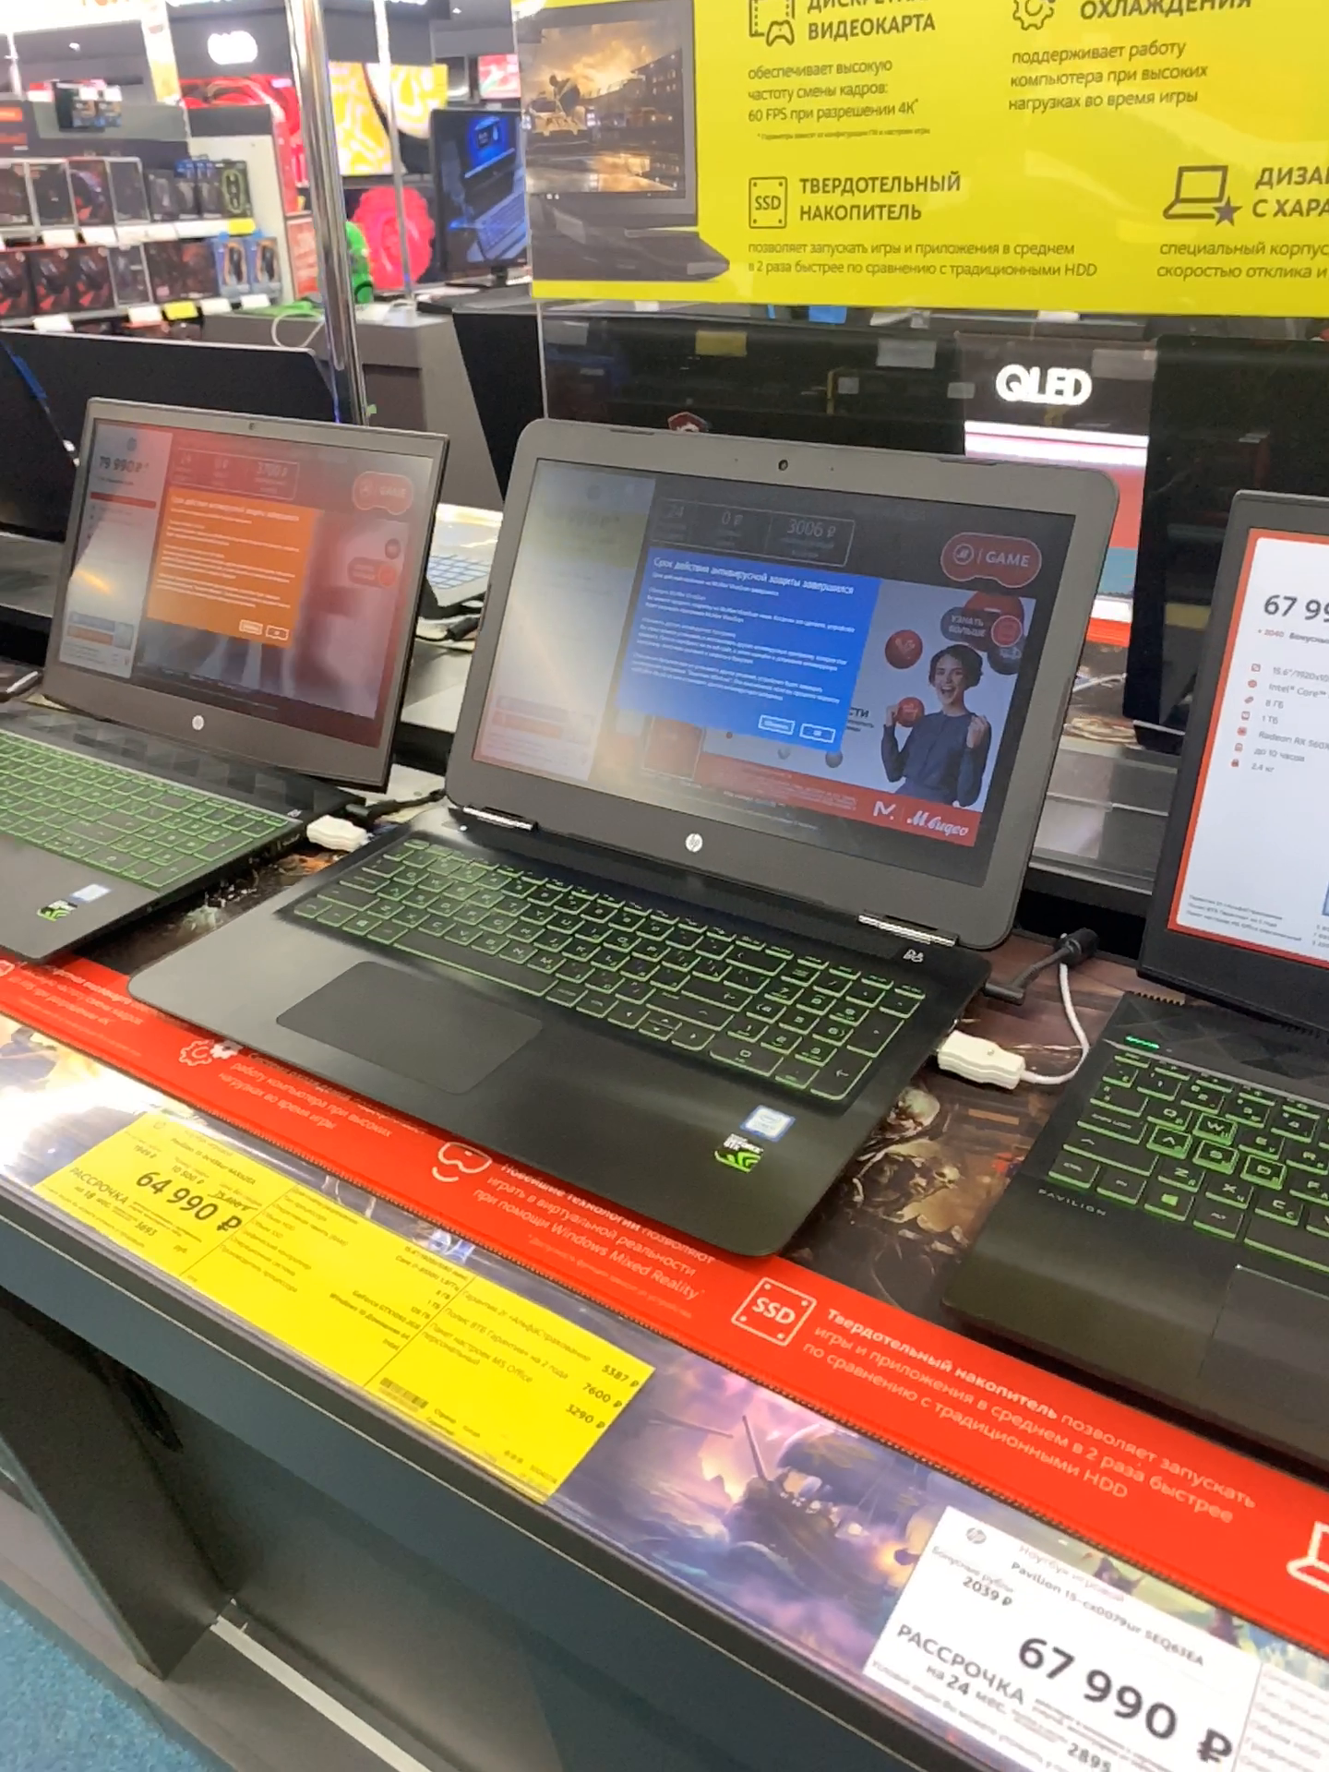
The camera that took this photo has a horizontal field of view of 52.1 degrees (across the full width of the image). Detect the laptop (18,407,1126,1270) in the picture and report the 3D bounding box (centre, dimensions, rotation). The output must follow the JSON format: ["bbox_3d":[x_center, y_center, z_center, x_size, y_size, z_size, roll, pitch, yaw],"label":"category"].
[{"bbox_3d":[-0.024,-0.082,0.699,0.385,0.223,0.380,16,33,29],"label":"laptop"}]
